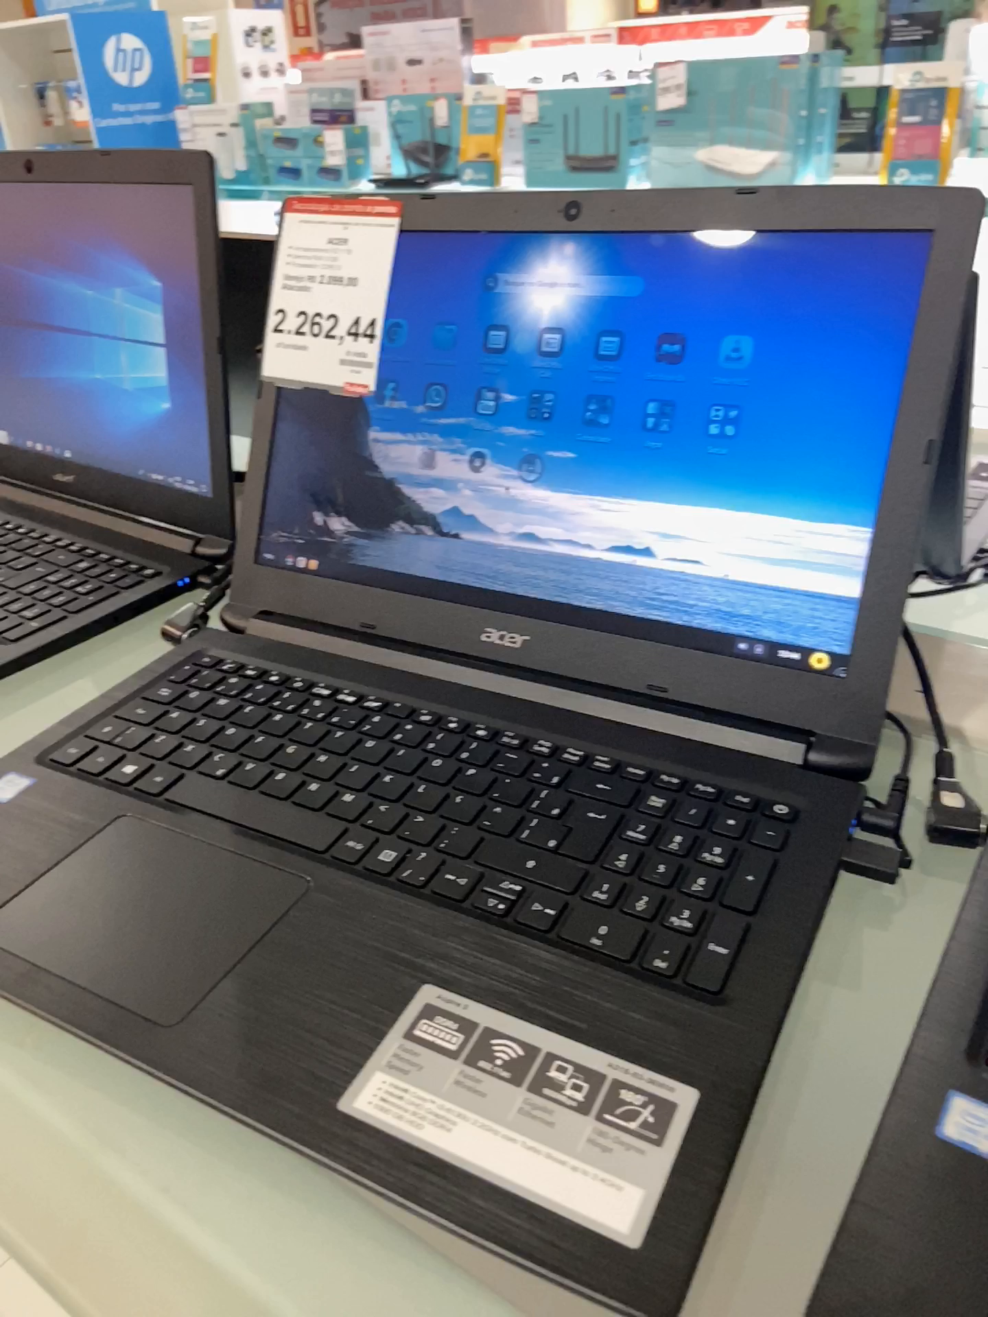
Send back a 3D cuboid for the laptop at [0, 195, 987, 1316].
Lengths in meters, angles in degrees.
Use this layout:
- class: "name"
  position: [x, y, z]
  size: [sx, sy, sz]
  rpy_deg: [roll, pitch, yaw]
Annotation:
- class: "laptop"
  position: [-0.043, -0.050, 0.433]
  size: [0.389, 0.226, 0.376]
  rpy_deg: [12, 33, 27]
